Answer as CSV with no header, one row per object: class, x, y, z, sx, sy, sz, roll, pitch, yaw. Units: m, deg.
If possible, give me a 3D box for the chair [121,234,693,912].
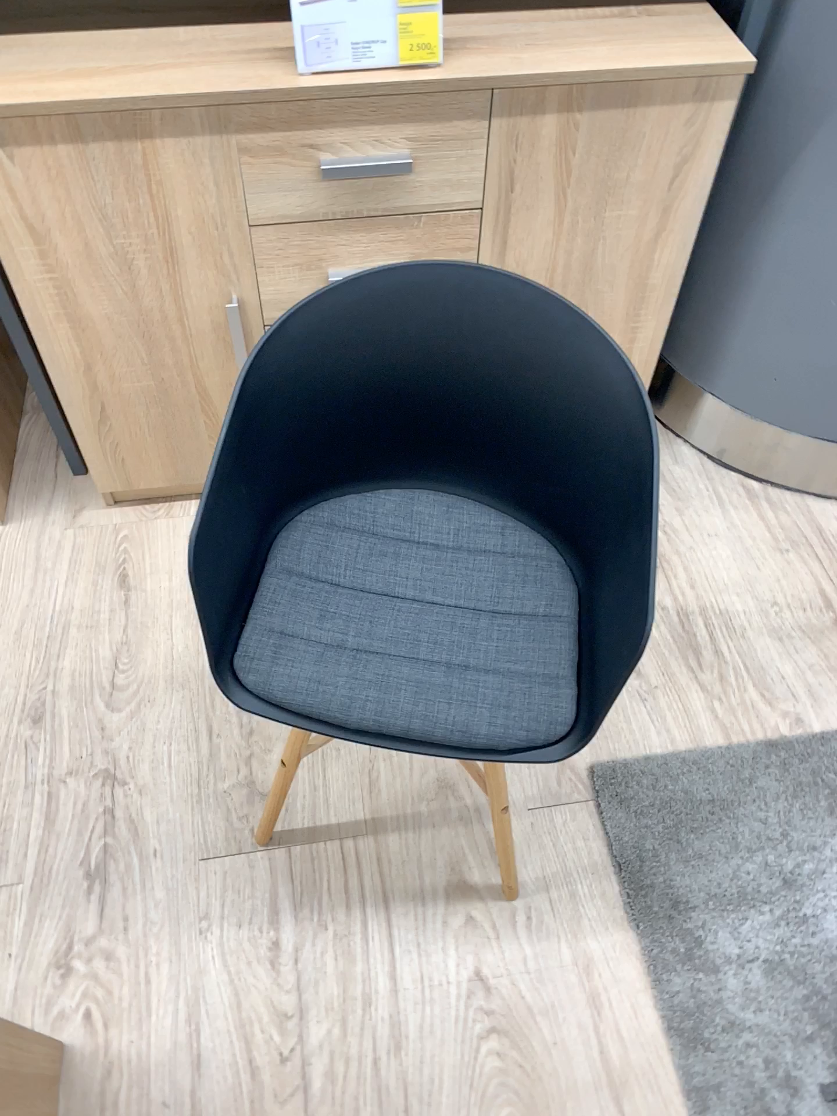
chair,0.022,0.070,1.224,0.510,0.787,0.552,8,53,5
